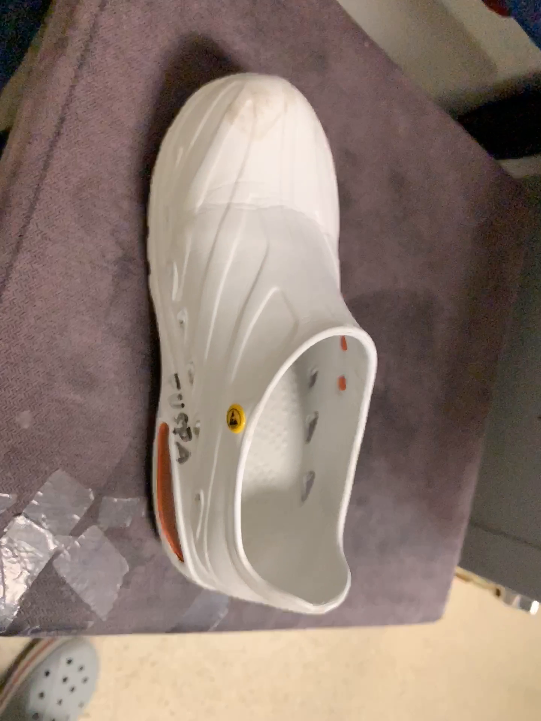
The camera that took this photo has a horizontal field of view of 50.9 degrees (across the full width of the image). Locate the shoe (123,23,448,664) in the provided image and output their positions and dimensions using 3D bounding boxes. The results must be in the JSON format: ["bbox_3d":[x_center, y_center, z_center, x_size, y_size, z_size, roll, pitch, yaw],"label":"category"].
[{"bbox_3d":[0.002,-0.006,0.253,0.092,0.093,0.213,0,96,-39],"label":"shoe"}]
